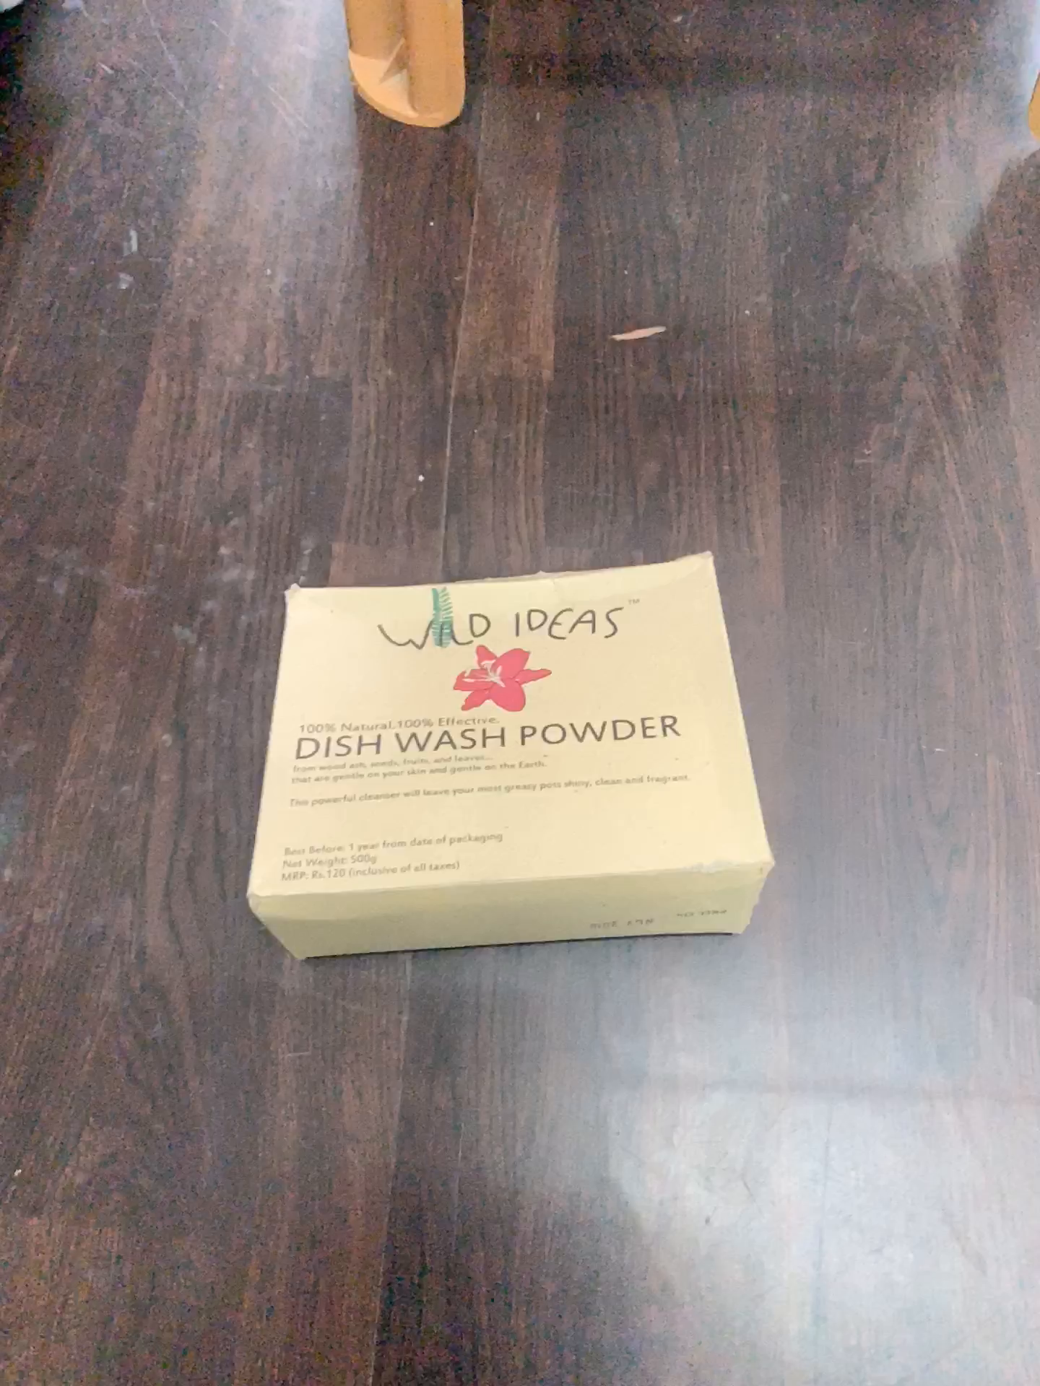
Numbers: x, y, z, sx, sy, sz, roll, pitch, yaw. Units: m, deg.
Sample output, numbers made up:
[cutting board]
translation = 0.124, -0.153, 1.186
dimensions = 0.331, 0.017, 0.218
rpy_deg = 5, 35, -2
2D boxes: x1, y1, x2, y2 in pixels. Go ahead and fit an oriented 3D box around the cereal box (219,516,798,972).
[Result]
[cereal box]
translation = -0.004, 0.016, 0.400
dimensions = 0.180, 0.060, 0.150
rpy_deg = -4, 53, 3
